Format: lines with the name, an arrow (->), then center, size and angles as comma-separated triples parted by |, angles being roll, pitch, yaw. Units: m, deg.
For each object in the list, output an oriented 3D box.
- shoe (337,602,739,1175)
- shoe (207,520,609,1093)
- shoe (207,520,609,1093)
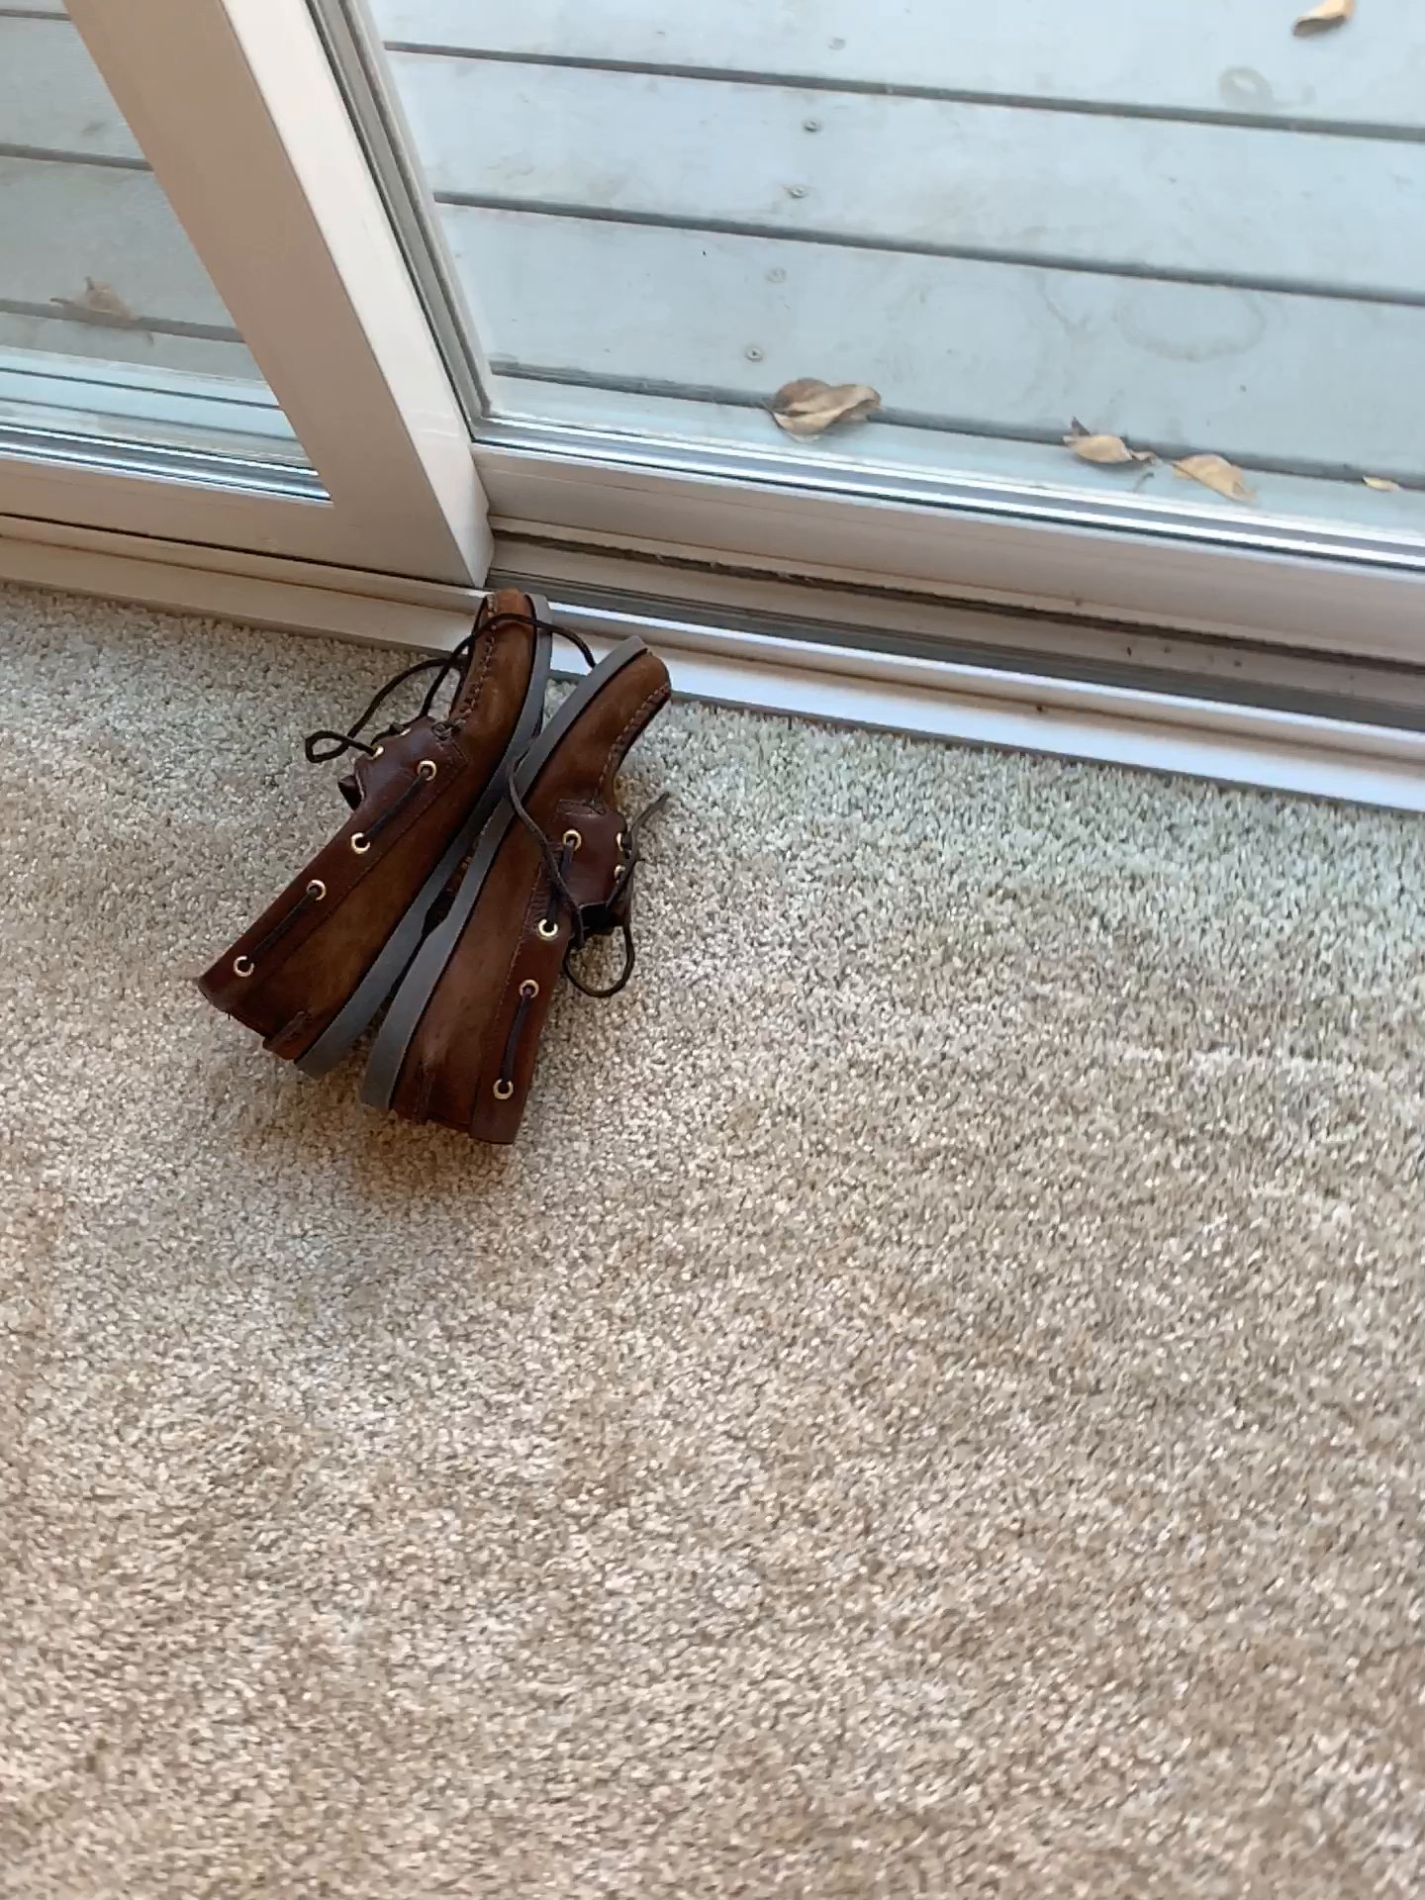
shoe -> -0.087, -0.030, 0.770 | 0.090, 0.110, 0.270 | 24, 74, 0
shoe -> -0.162, -0.074, 0.793 | 0.090, 0.110, 0.280 | 25, 73, -8
shoe -> -0.162, -0.074, 0.793 | 0.090, 0.110, 0.280 | 25, 73, -8
